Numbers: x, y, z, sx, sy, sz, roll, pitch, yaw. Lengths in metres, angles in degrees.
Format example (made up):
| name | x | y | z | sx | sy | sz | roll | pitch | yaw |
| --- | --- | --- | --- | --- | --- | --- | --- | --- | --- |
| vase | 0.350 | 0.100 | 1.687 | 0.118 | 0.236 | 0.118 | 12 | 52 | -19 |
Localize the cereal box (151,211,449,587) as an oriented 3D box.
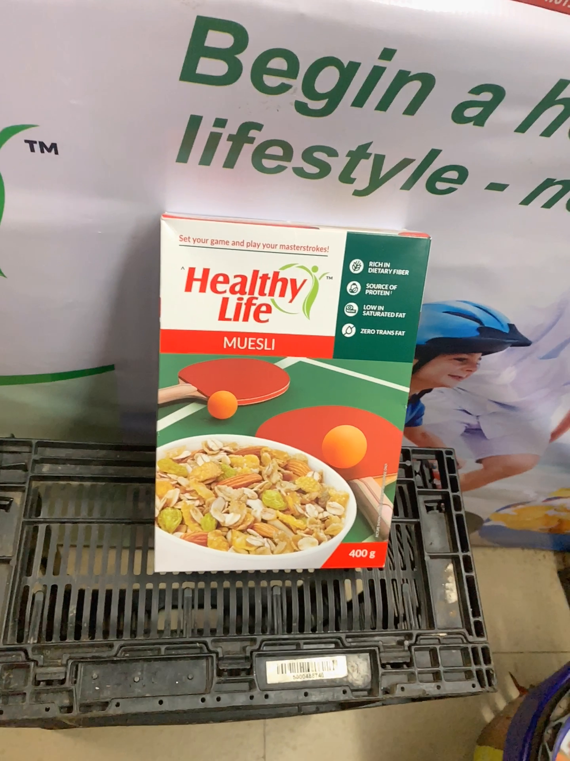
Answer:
| name | x | y | z | sx | sy | sz | roll | pitch | yaw |
| --- | --- | --- | --- | --- | --- | --- | --- | --- | --- |
| cereal box | -0.001 | 0.011 | 0.396 | 0.170 | 0.230 | 0.080 | 1 | 14 | -9 |
